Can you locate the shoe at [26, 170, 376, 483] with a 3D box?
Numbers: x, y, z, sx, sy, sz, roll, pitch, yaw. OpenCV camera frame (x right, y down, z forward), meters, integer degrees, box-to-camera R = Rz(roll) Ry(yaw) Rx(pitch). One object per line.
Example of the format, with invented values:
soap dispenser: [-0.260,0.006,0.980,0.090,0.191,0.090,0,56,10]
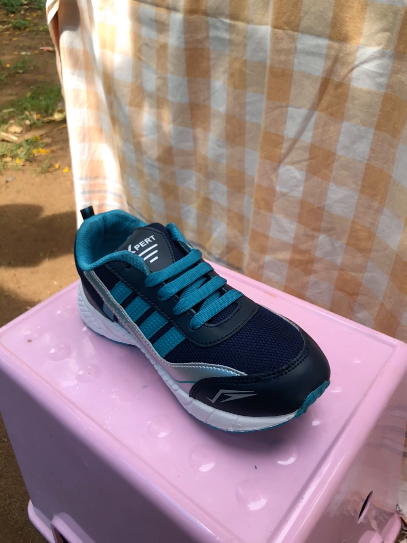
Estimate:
shoe: [-0.017,0.021,0.384,0.270,0.109,0.110,29,48,34]
